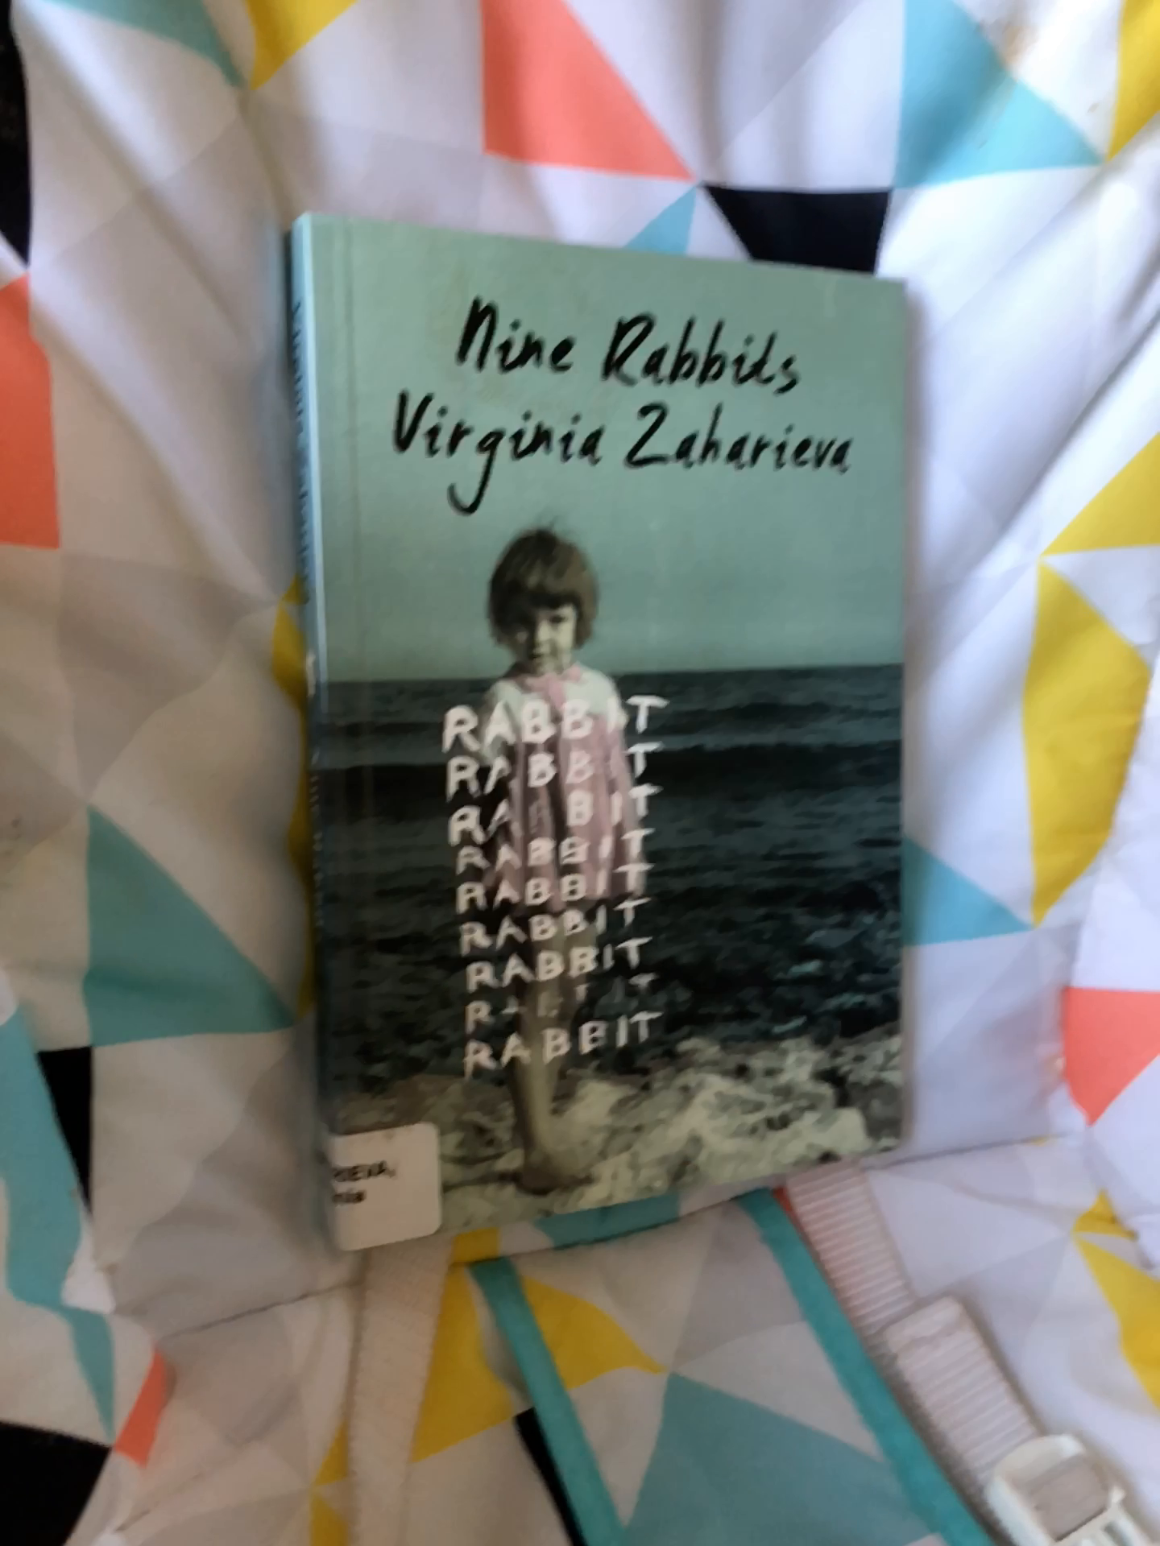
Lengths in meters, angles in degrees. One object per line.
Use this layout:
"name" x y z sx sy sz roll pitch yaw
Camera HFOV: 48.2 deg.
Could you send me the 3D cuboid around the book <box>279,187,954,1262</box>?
"book" 0.015 -0.010 0.282 0.146 0.025 0.200 -4 96 -24
